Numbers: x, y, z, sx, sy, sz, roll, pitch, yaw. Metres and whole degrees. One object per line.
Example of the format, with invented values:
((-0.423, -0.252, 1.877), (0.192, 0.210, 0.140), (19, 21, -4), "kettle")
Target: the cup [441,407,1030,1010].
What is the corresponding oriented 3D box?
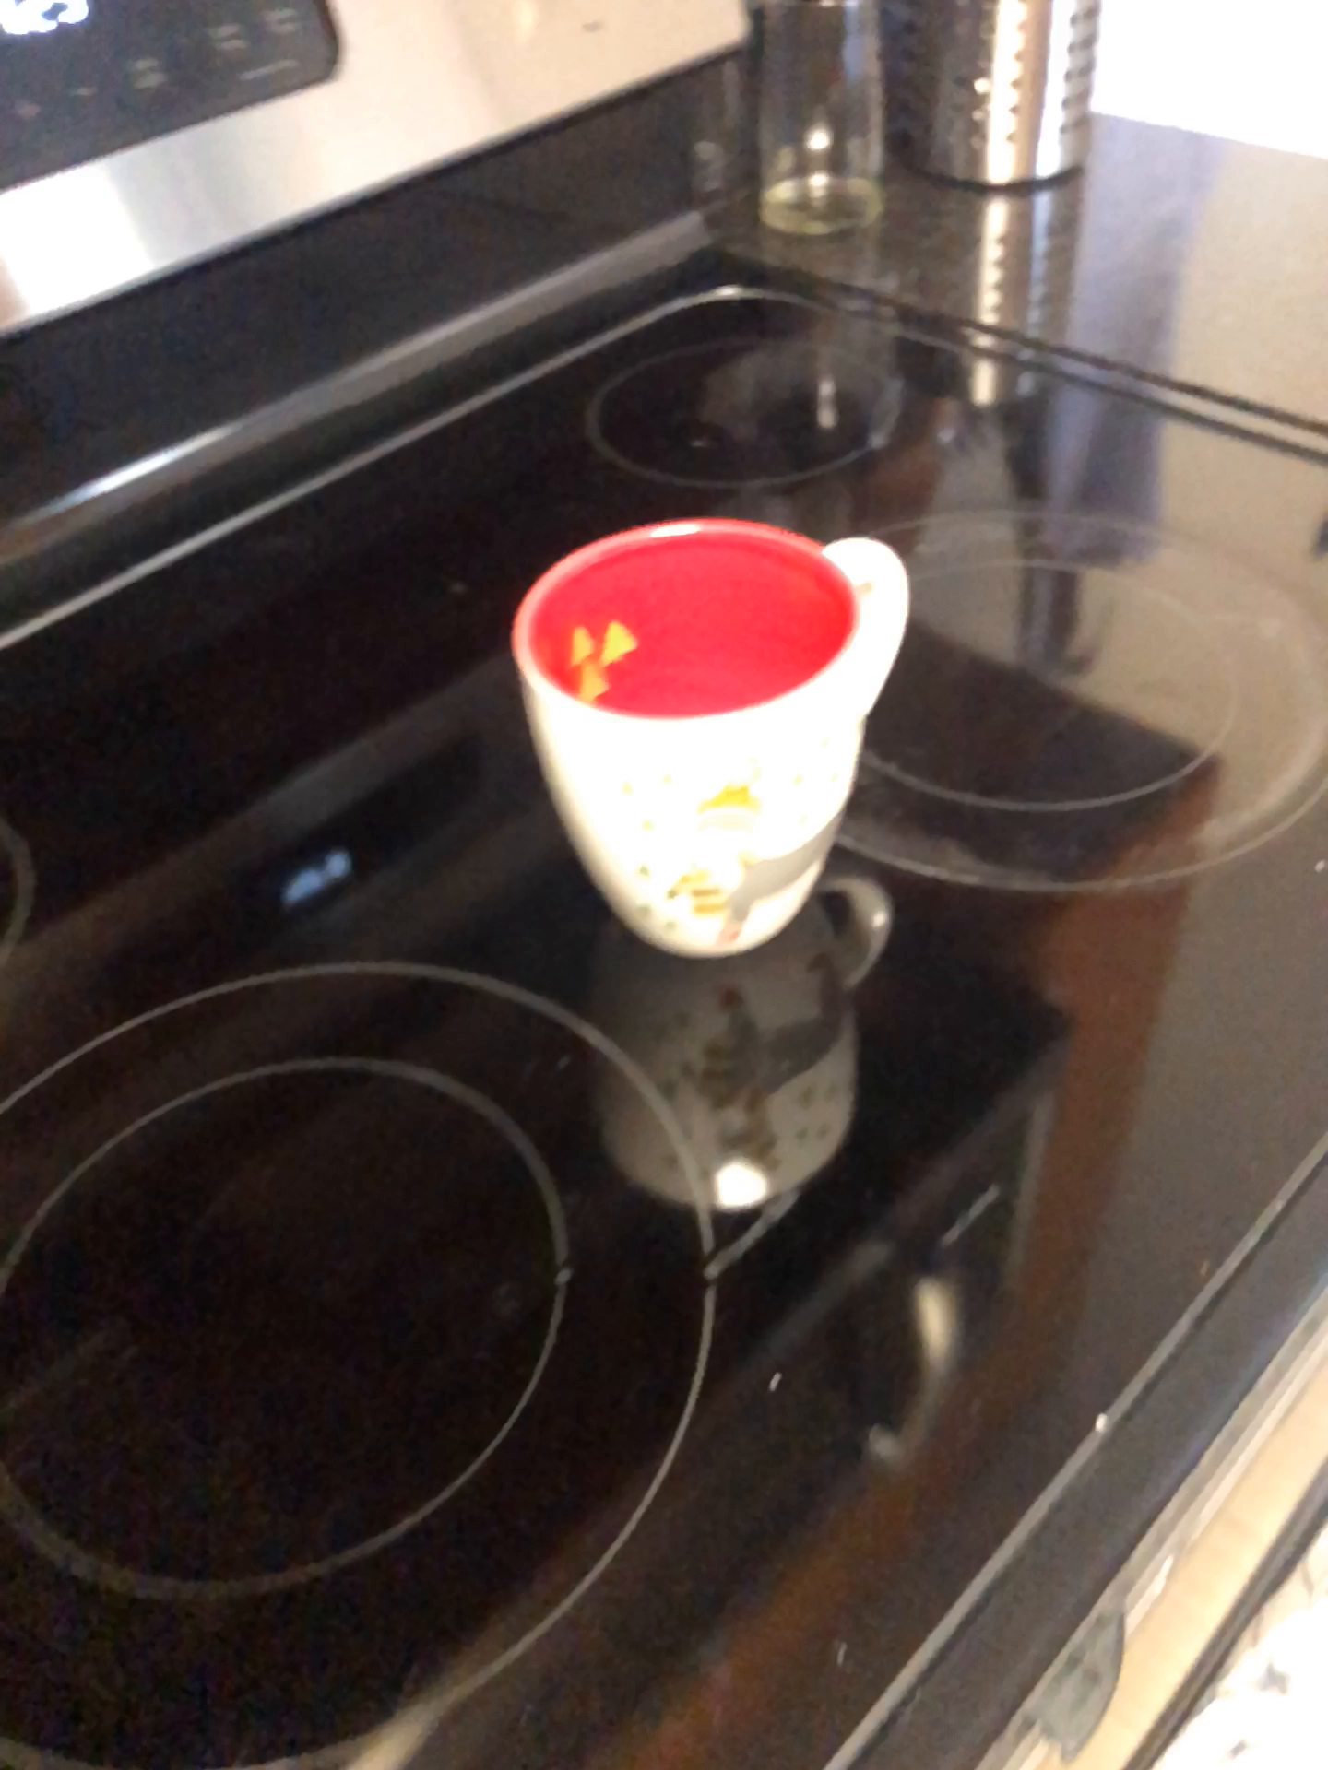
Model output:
((0.026, -0.060, 0.456), (0.100, 0.100, 0.140), (29, 53, 32), "cup")
